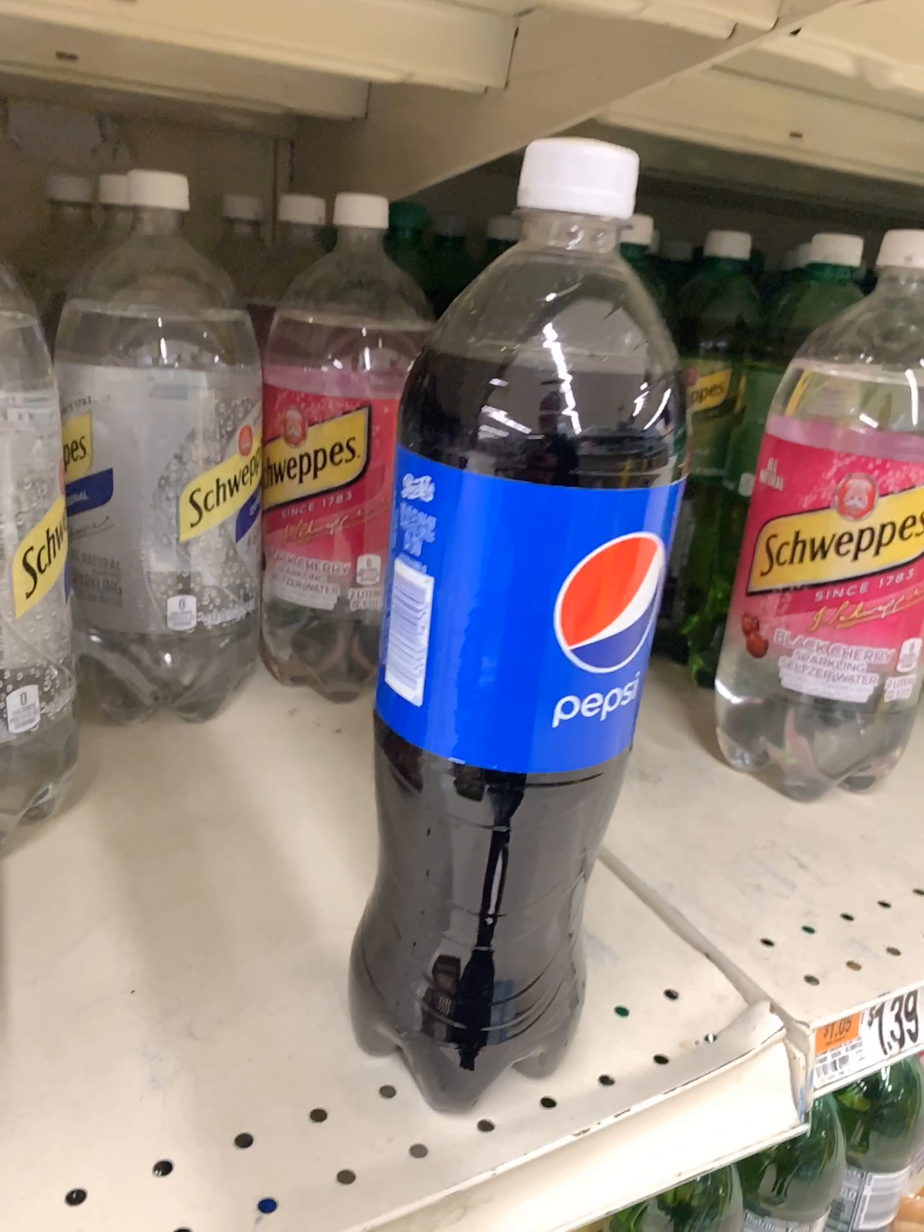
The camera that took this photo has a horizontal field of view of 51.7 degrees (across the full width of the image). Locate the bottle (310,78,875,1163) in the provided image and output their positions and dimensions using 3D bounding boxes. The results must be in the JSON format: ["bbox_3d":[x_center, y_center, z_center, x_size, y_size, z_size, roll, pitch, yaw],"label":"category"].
[{"bbox_3d":[0.023,0.007,0.291,0.101,0.279,0.090,-6,23,-30],"label":"bottle"}]
